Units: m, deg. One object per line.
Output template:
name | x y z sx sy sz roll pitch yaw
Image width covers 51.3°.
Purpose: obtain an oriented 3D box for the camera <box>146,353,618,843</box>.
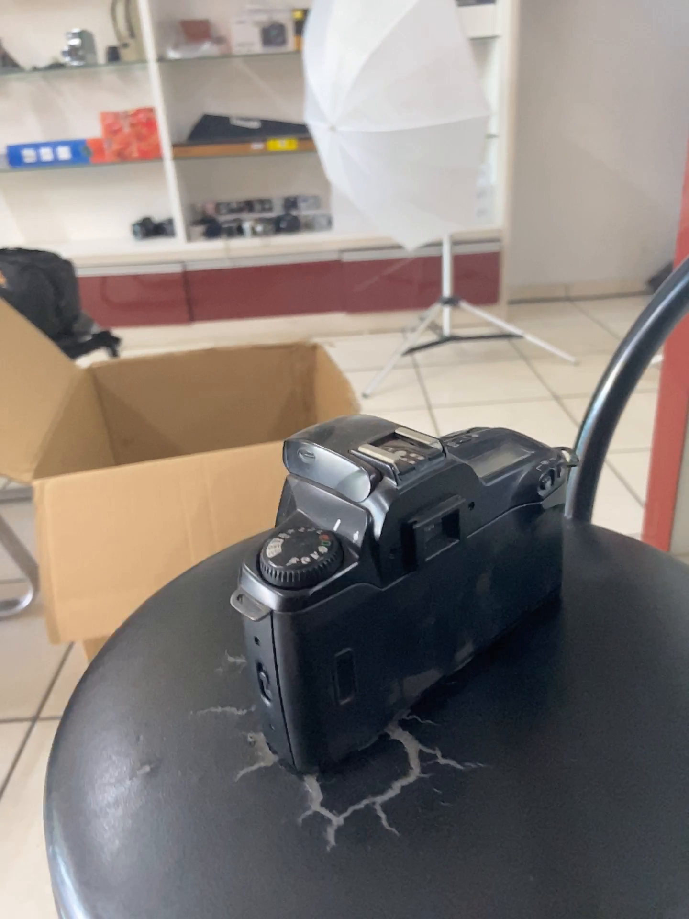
camera | 0.021 0.031 0.243 0.140 0.089 0.070 -25 32 -37
